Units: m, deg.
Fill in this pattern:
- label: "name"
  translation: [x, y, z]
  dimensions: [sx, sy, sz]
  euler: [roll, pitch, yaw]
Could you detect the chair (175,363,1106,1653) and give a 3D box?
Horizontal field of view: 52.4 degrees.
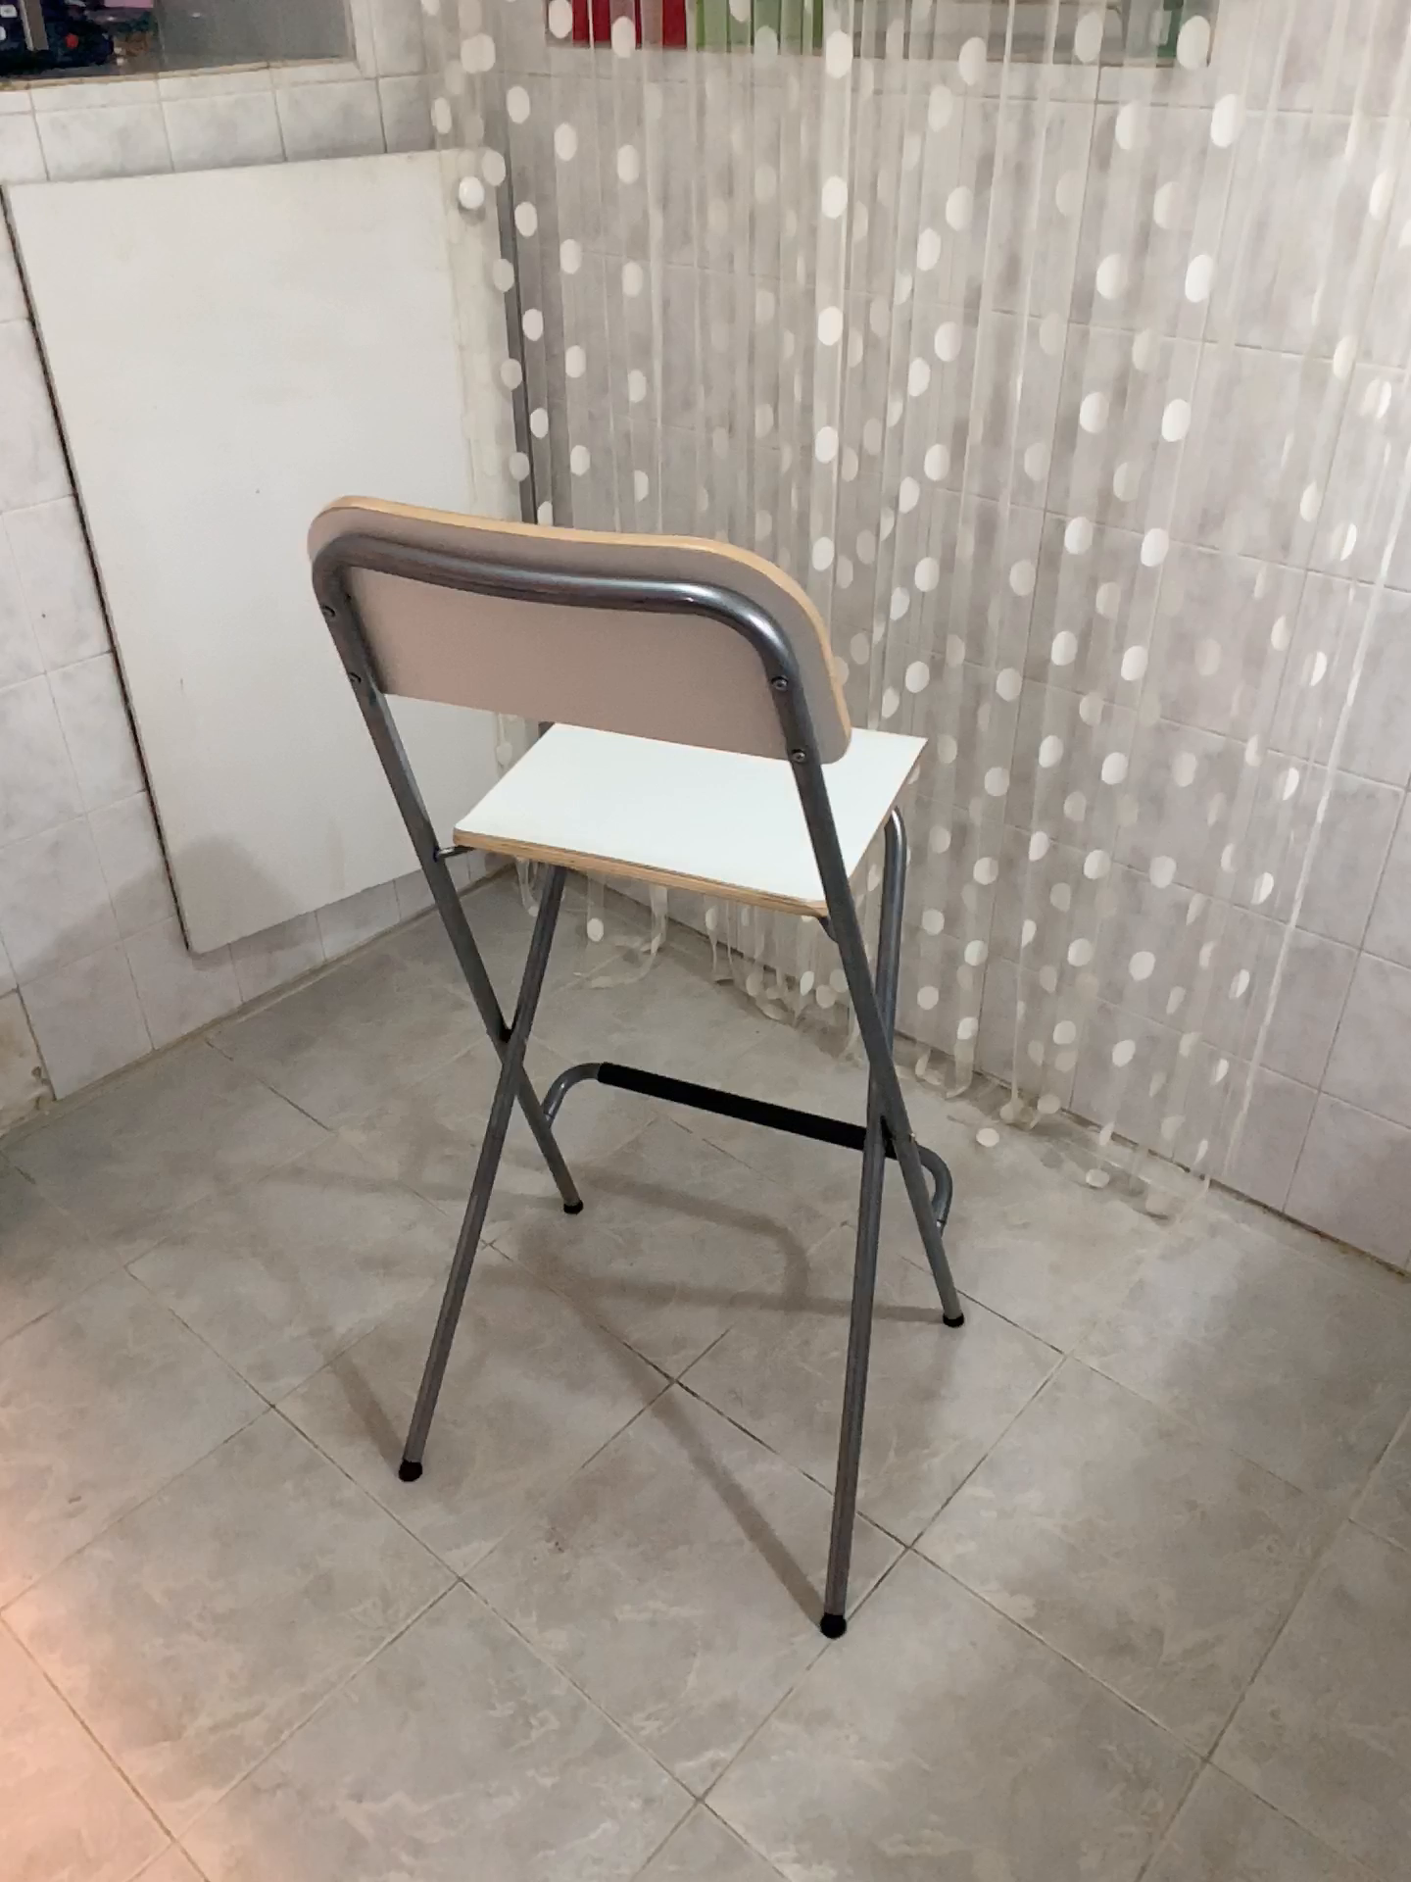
- label: "chair"
  translation: [-0.018, 0.070, 1.323]
  dimensions: [0.538, 1.008, 0.468]
  euler: [12, 36, 17]
